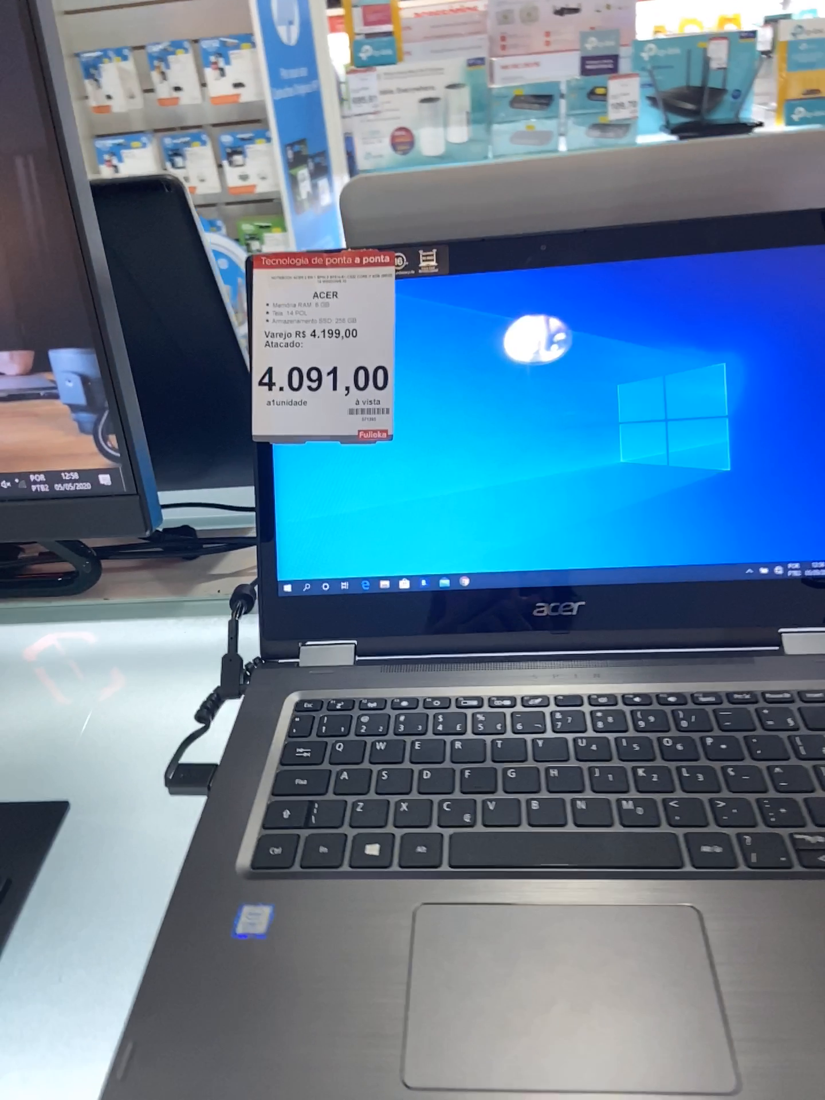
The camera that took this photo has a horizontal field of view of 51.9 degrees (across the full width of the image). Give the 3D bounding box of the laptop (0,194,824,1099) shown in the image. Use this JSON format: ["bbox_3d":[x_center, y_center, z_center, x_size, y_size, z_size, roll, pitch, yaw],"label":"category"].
[{"bbox_3d":[0.064,-0.004,0.354,0.328,0.187,0.358,-3,31,6],"label":"laptop"}]
